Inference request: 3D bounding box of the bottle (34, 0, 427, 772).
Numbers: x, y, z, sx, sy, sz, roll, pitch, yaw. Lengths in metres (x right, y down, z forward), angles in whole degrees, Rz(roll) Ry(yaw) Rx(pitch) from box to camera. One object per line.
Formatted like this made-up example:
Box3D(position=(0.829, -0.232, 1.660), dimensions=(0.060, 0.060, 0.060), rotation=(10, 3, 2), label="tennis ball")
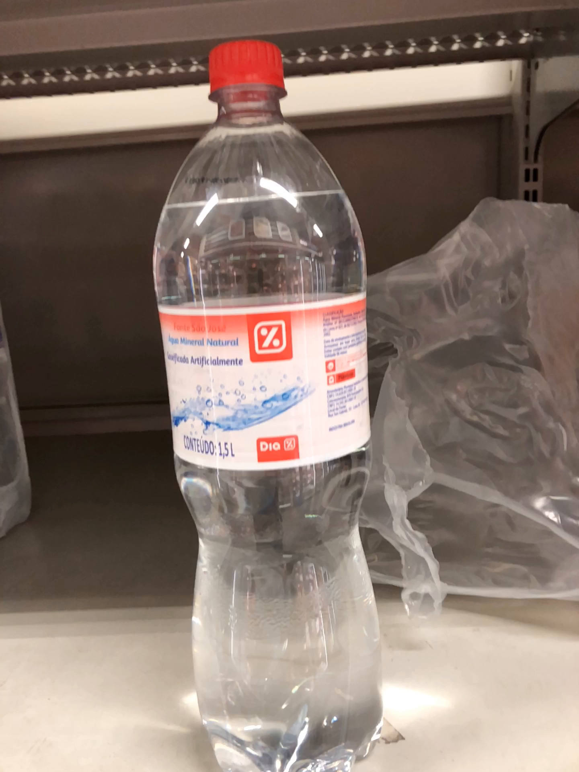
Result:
Box3D(position=(-0.010, 0.015, 0.284), dimensions=(0.100, 0.319, 0.100), rotation=(-5, 14, 1), label="bottle")
